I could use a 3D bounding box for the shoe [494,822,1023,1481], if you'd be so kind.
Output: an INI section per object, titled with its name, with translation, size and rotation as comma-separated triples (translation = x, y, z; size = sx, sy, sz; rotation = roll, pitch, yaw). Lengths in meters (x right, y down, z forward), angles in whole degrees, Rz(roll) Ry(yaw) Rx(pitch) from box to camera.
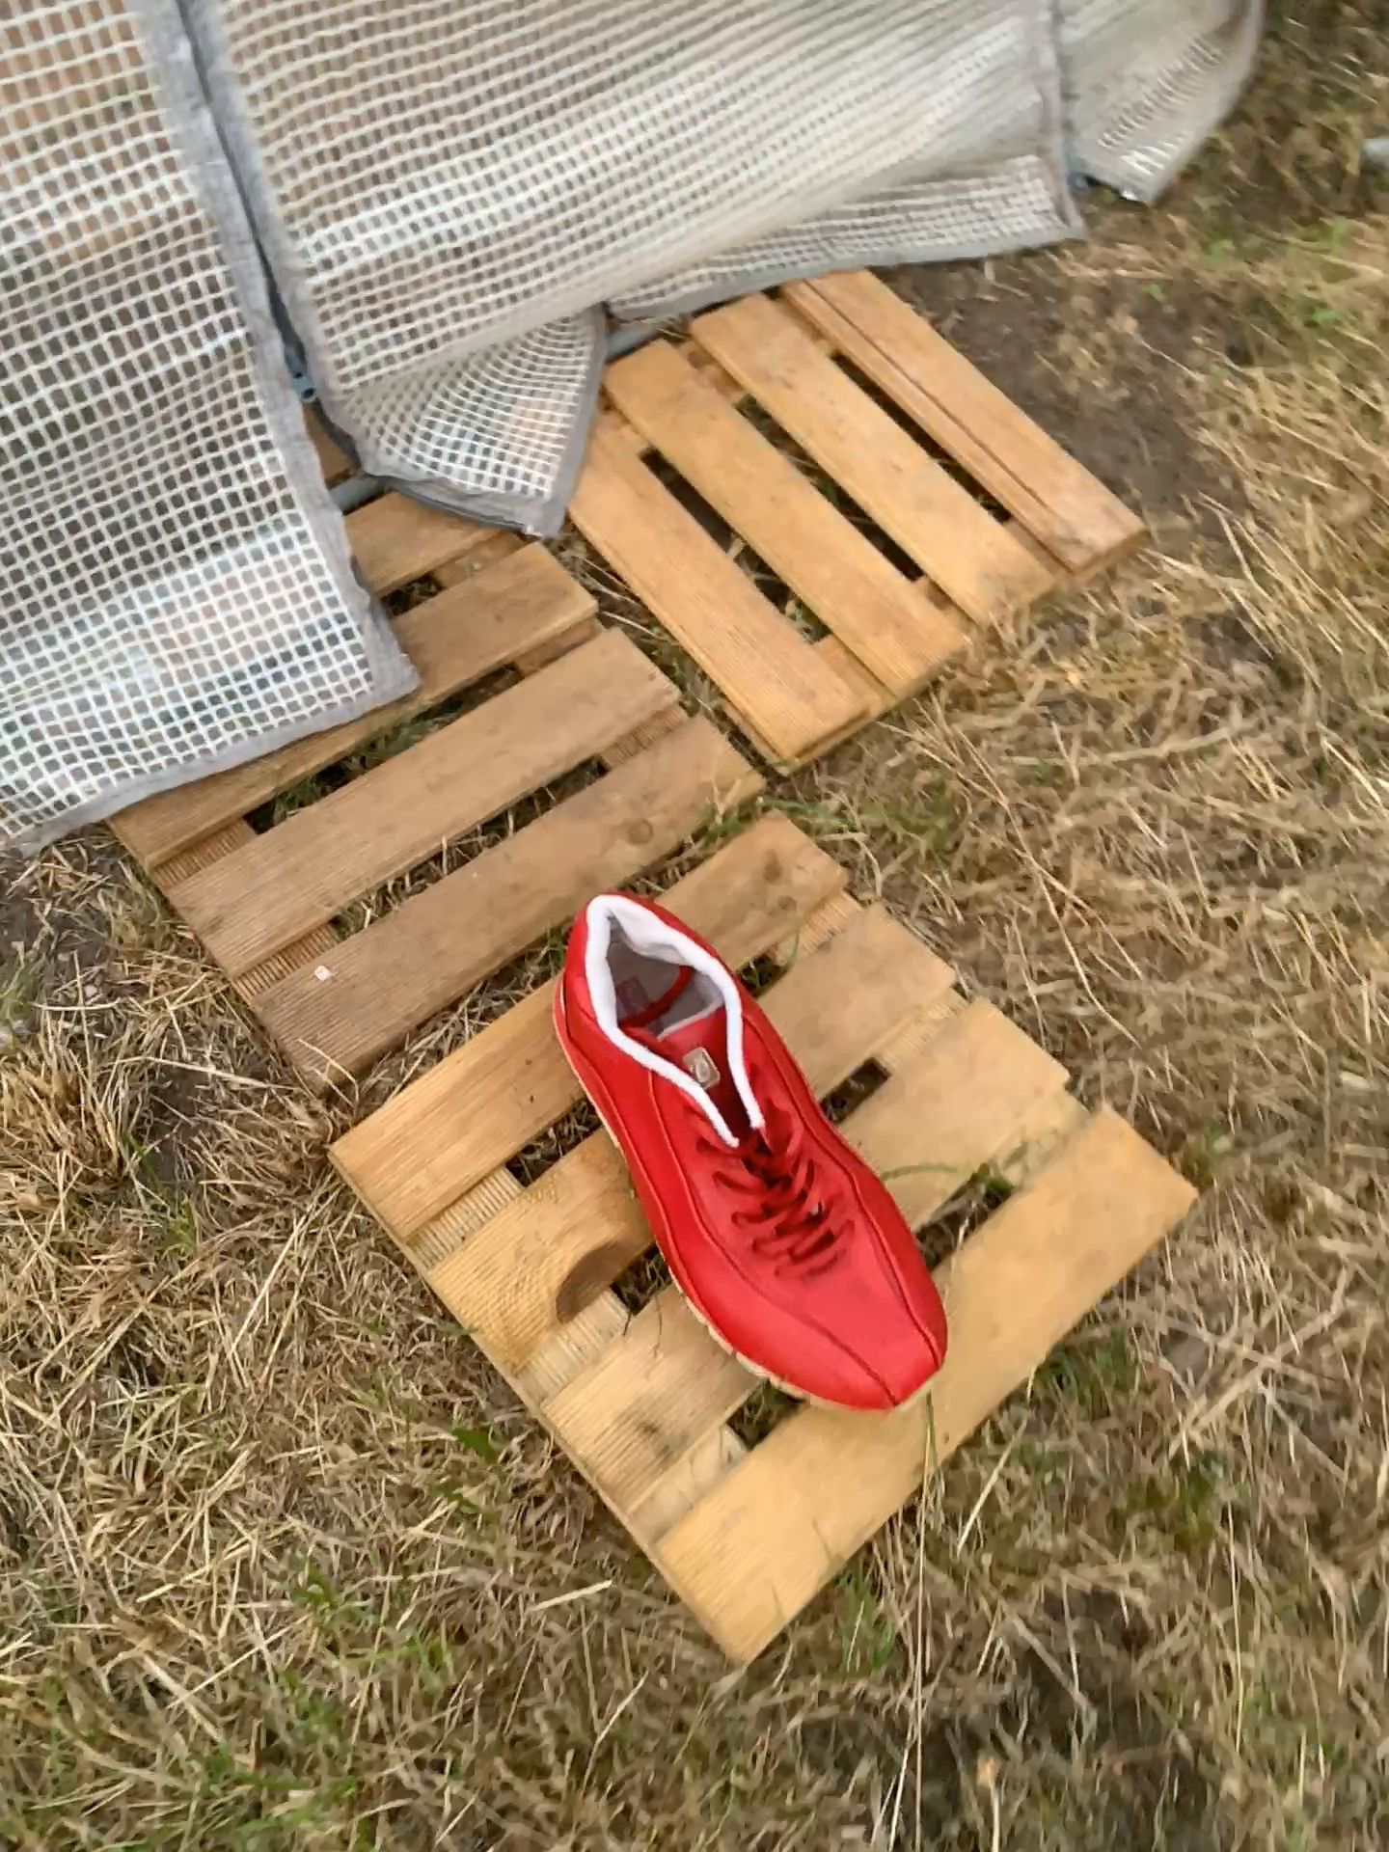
[shoe]
translation = 0.018, 0.099, 0.638
size = 0.100, 0.099, 0.261
rotation = -27, 70, -15
